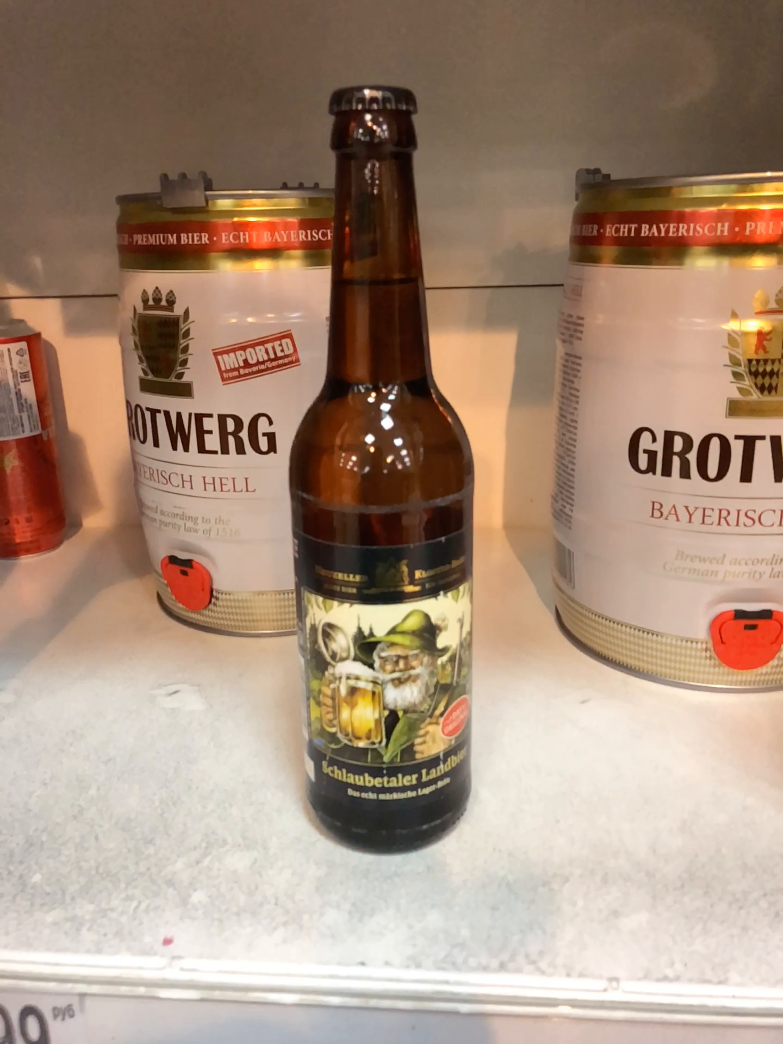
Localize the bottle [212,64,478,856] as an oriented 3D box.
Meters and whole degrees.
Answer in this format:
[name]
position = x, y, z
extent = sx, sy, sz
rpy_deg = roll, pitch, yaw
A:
[bottle]
position = -0.007, -0.010, 0.302
extent = 0.071, 0.257, 0.064
rpy_deg = -1, 19, 3
